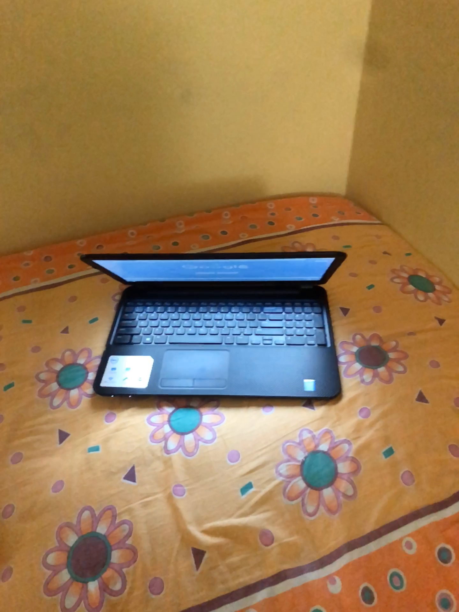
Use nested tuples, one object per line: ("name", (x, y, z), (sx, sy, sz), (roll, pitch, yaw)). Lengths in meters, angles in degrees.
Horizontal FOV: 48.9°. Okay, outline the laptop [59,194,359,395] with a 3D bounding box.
("laptop", (-0.021, -0.021, 0.766), (0.366, 0.190, 0.239), (0, 43, 4))
